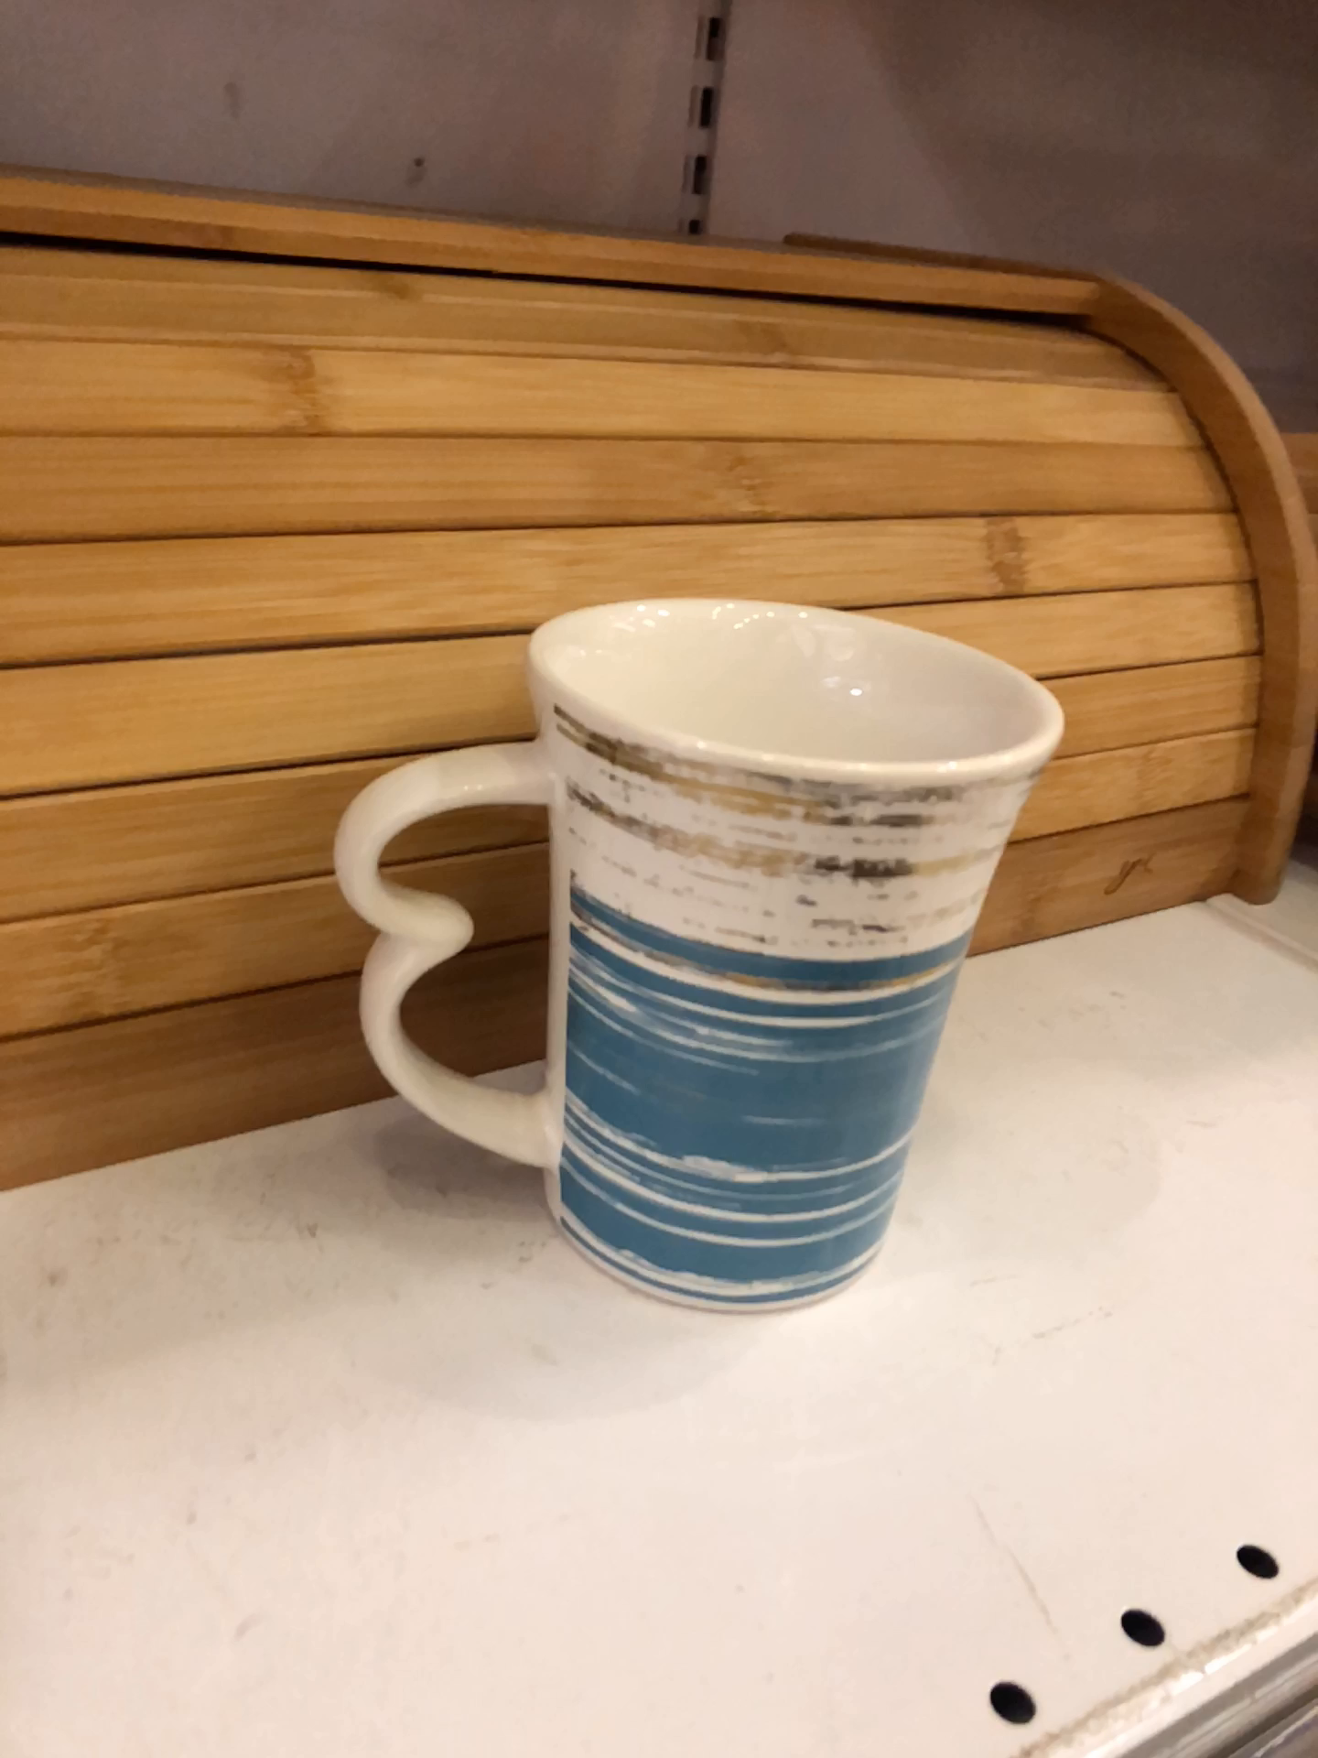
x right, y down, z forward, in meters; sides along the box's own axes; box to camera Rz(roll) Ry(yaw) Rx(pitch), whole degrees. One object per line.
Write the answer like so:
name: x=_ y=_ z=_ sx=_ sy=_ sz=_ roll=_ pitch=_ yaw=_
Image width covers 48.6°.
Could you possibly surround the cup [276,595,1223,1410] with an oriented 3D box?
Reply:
cup: x=0.004 y=0.009 z=0.243 sx=0.120 sy=0.089 sz=0.091 roll=-4 pitch=27 yaw=-22
